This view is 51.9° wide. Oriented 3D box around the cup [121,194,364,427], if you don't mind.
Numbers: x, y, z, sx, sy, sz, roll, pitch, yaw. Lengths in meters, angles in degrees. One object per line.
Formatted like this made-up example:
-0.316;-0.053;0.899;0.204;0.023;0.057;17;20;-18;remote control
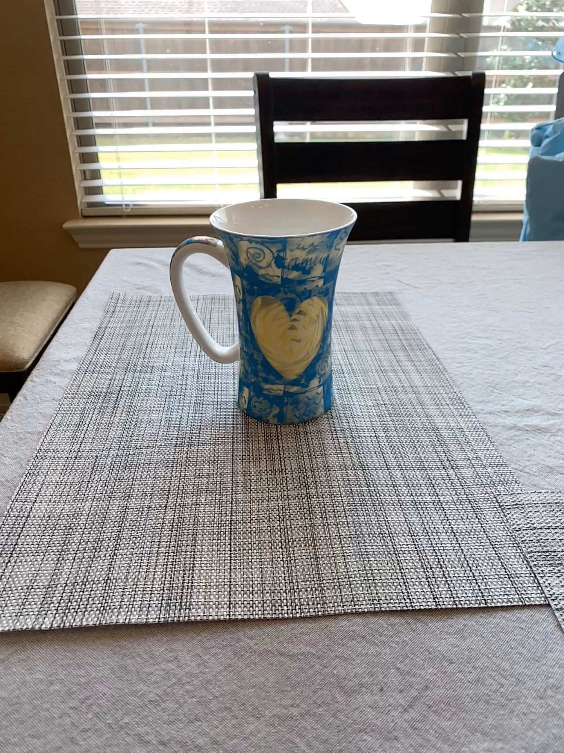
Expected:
-0.024;-0.052;0.442;0.152;0.148;0.100;0;29;1;cup
